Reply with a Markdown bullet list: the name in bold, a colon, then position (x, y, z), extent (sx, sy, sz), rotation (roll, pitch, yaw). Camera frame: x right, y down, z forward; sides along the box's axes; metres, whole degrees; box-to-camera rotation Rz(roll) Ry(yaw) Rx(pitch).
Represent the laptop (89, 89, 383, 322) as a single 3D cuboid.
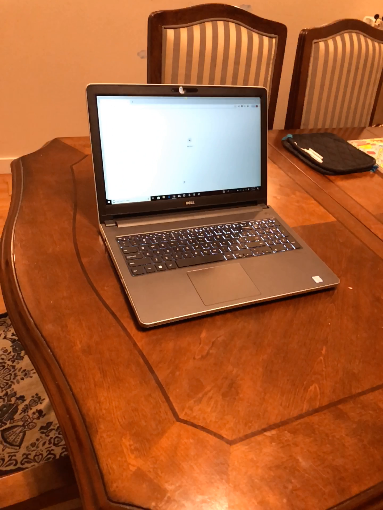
- **laptop**: position (0.043, -0.120, 0.740), extent (0.369, 0.212, 0.362), rotation (-8, 42, -22)
